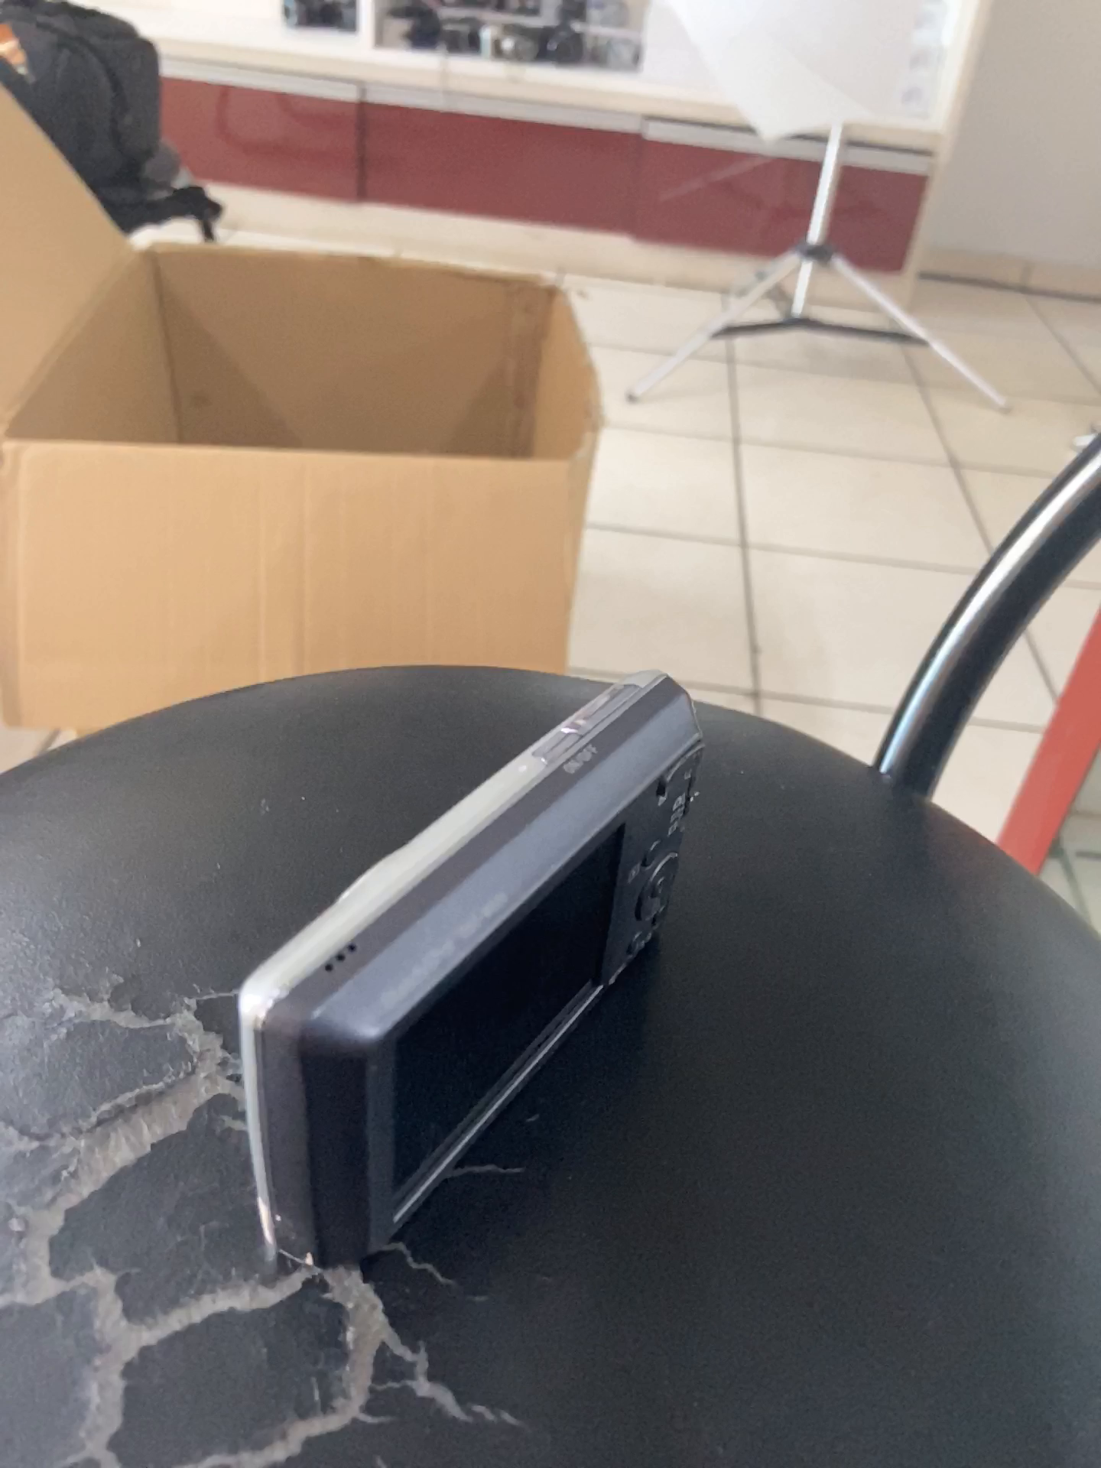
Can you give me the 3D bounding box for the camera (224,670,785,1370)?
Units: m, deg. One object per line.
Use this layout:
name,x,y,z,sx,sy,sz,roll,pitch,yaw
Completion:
camera,-0.003,0.041,0.191,0.030,0.060,0.101,27,42,24
